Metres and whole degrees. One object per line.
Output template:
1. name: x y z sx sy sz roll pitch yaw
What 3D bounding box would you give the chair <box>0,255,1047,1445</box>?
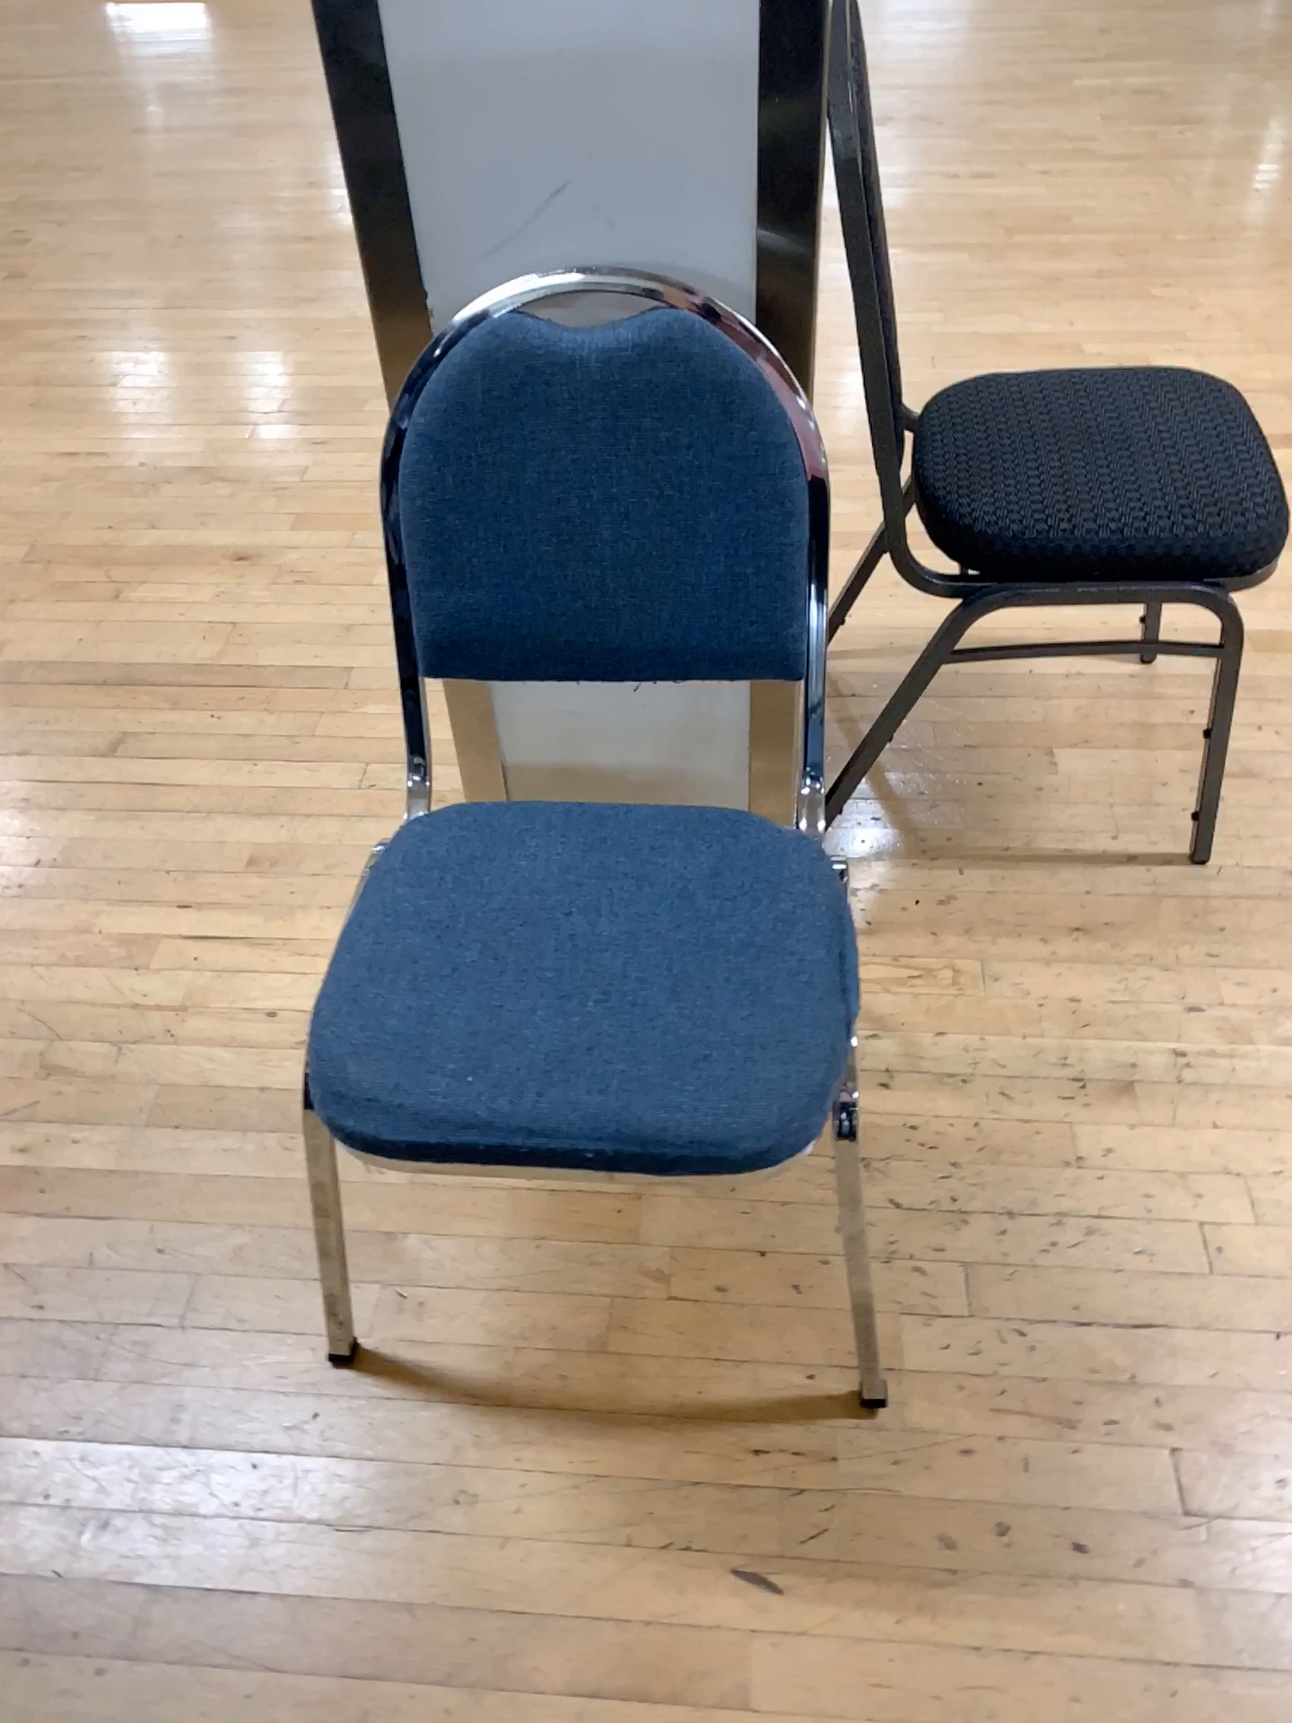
1. chair: -0.038 0.033 1.148 0.548 0.888 0.556 2 45 6
